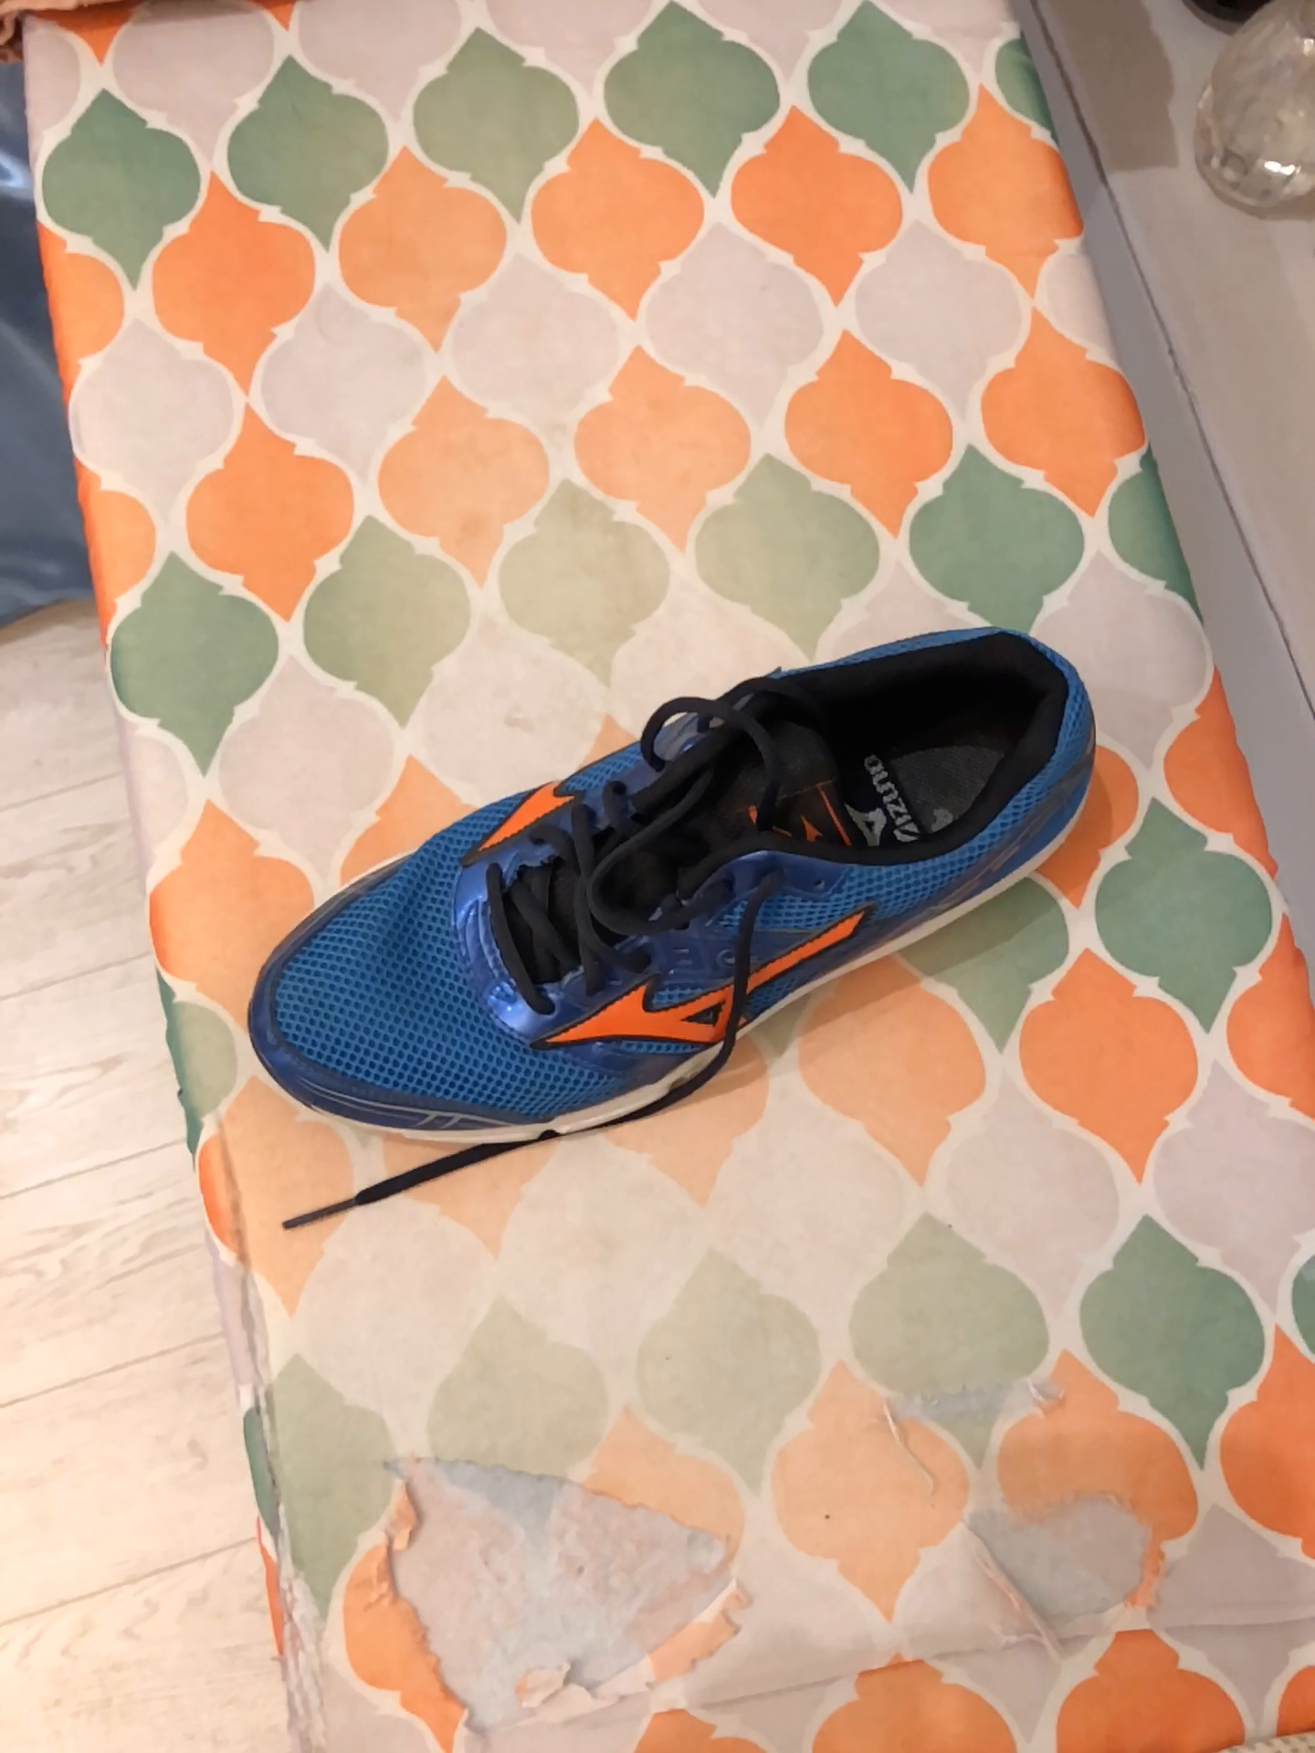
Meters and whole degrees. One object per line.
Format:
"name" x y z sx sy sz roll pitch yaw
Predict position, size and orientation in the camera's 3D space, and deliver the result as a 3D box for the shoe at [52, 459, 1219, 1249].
"shoe" -0.006 -0.003 0.465 0.310 0.110 0.120 -22 81 -4
